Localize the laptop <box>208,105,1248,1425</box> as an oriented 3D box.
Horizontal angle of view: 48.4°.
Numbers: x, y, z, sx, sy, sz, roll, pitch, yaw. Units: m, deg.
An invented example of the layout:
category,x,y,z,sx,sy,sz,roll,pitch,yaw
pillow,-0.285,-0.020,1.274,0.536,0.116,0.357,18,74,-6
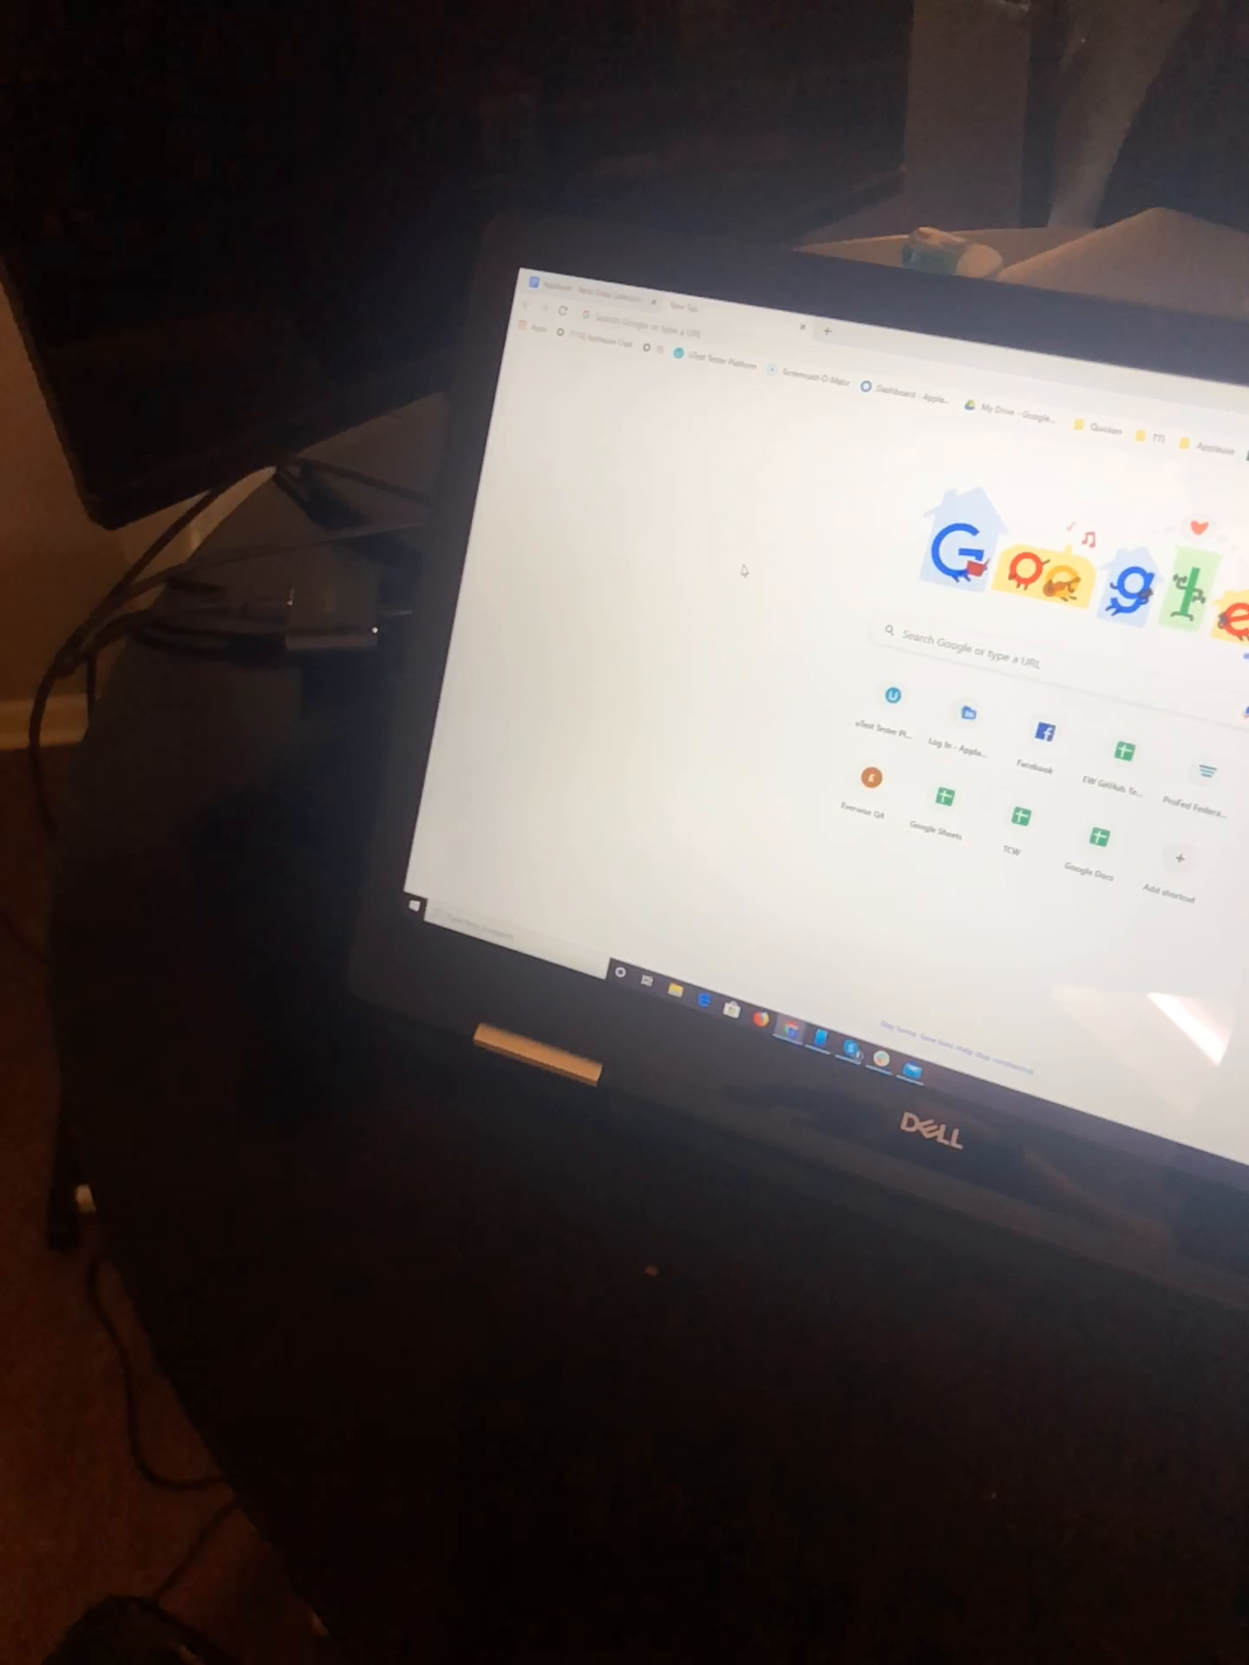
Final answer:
category,x,y,z,sx,sy,sz,roll,pitch,yaw
laptop,0.144,-0.057,0.459,0.419,0.232,0.268,16,46,18
